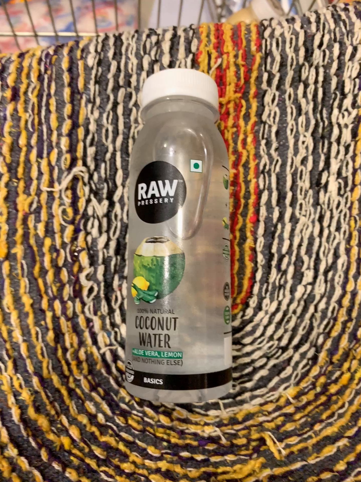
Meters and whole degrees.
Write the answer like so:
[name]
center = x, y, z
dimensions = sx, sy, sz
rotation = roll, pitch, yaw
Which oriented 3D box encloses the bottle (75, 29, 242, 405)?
[bottle]
center = -0.006, -0.010, 0.180
dimensions = 0.060, 0.050, 0.150
rotation = -2, 80, 18
